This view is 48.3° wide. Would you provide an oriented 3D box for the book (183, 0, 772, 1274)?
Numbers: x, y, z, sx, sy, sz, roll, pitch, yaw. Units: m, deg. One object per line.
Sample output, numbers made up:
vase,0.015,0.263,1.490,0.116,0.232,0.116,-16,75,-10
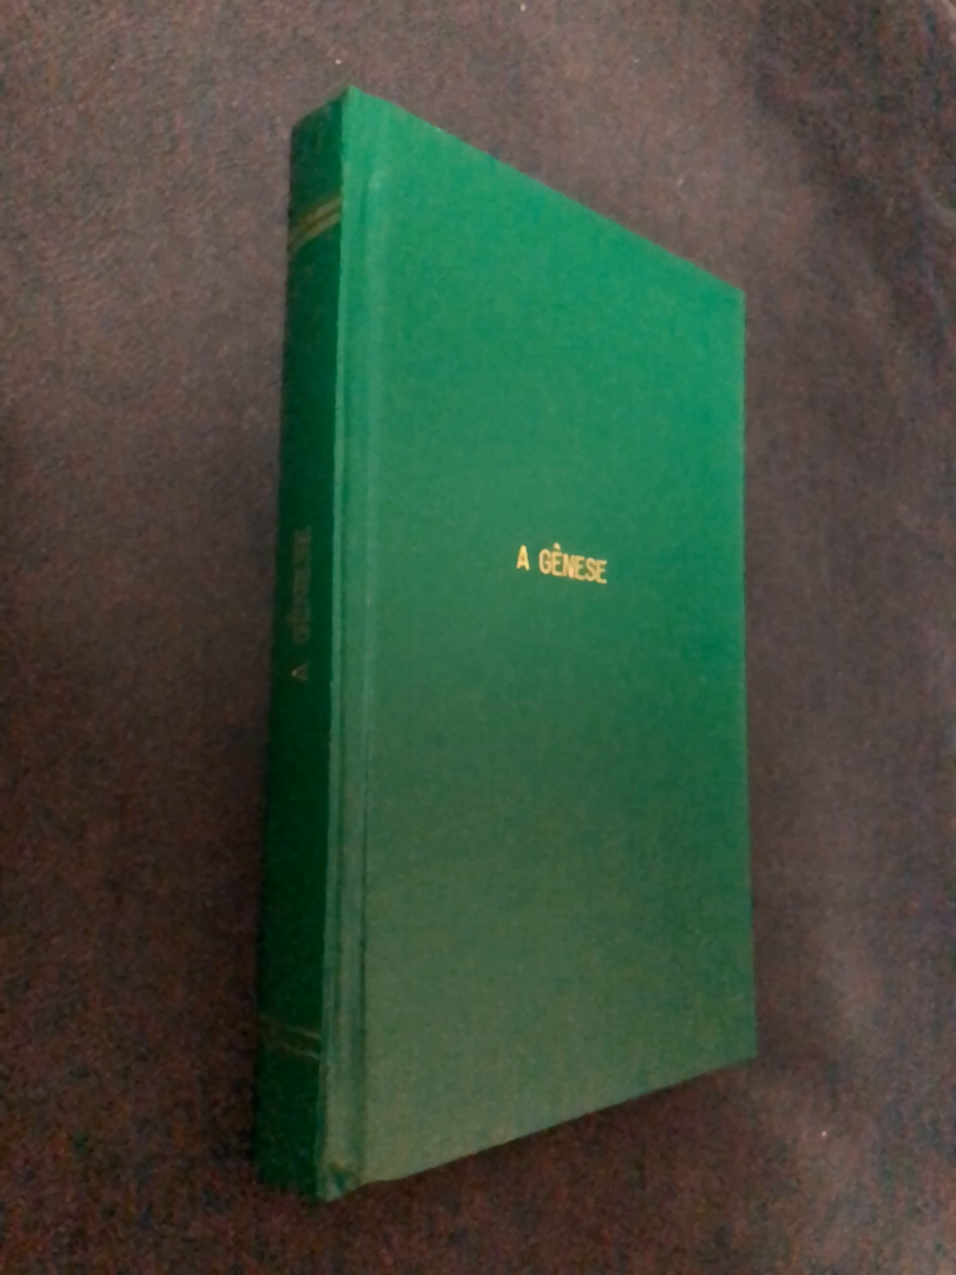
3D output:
book,0.010,-0.003,0.262,0.151,0.040,0.240,6,81,-43
